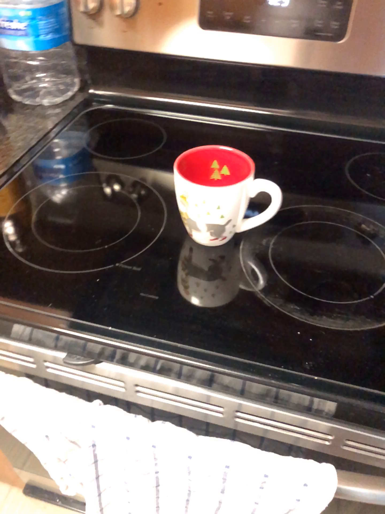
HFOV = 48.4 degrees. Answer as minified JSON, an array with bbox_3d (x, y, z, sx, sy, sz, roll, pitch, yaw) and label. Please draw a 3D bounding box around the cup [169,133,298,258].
[{"bbox_3d":[0.052,-0.081,0.550,0.140,0.100,0.100,10,44,10],"label":"cup"}]
